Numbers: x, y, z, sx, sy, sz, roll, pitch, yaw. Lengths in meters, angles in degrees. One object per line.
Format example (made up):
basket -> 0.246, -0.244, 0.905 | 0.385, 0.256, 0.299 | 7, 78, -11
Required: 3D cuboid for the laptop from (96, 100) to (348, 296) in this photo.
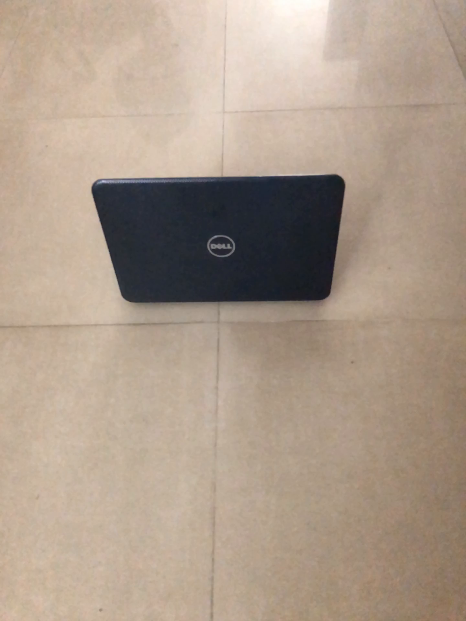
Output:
laptop -> -0.008, -0.190, 0.879 | 0.351, 0.227, 0.249 | -1, 55, 3
